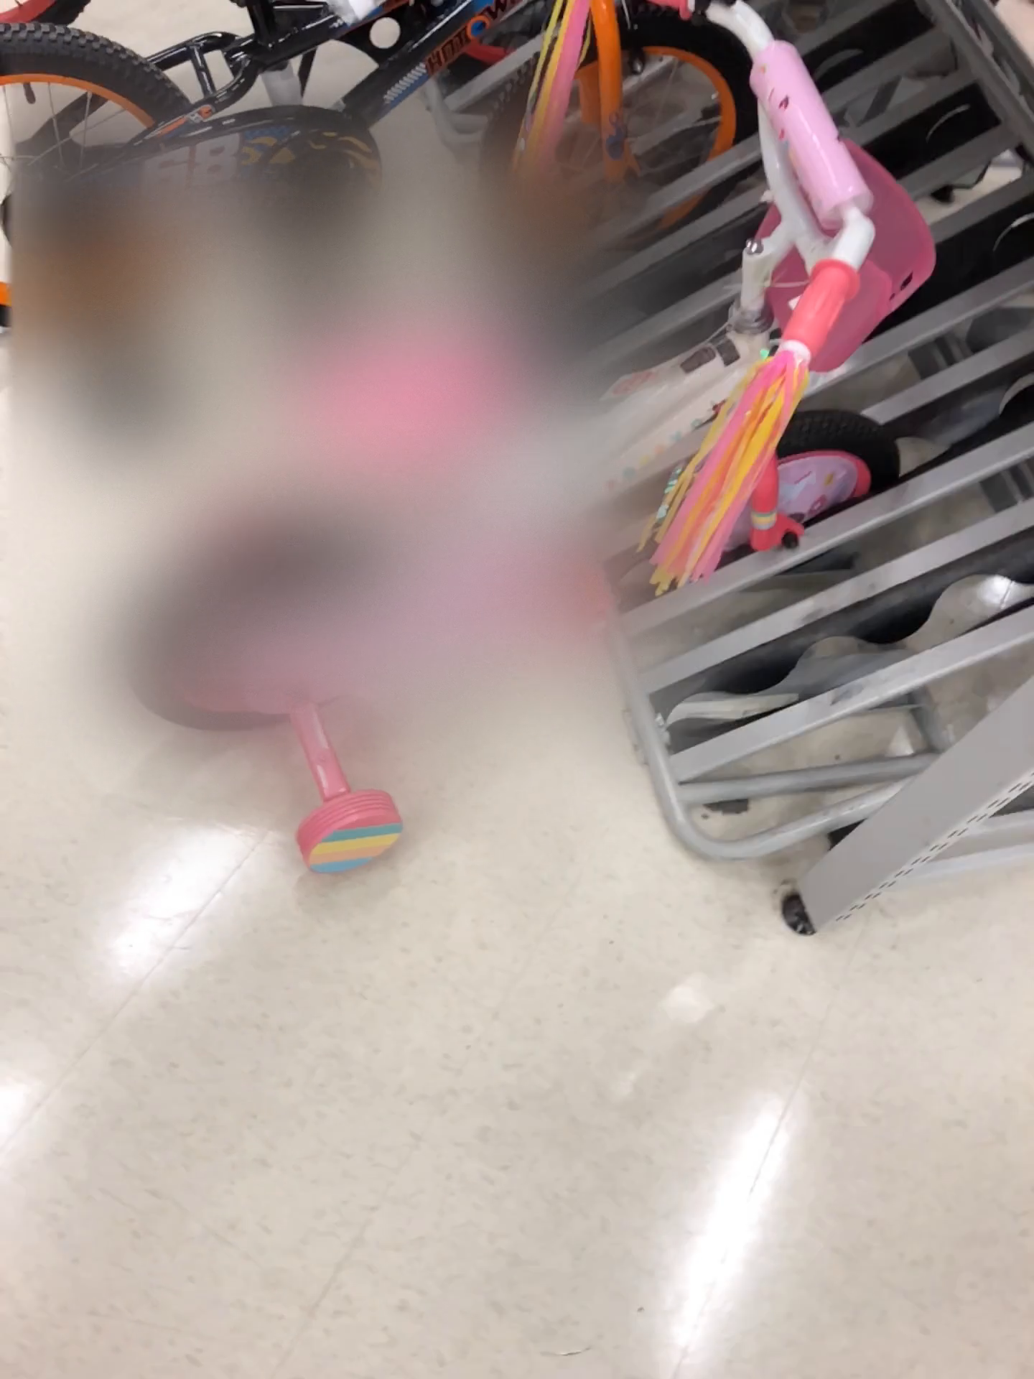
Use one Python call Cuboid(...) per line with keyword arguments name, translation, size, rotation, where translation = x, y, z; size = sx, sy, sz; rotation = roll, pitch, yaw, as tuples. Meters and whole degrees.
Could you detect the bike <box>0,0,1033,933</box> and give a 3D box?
Cuboid(name="bike", translation=(0.092, -0.259, 1.081), size=(0.944, 0.592, 0.517), rotation=(-16, 64, -21))
